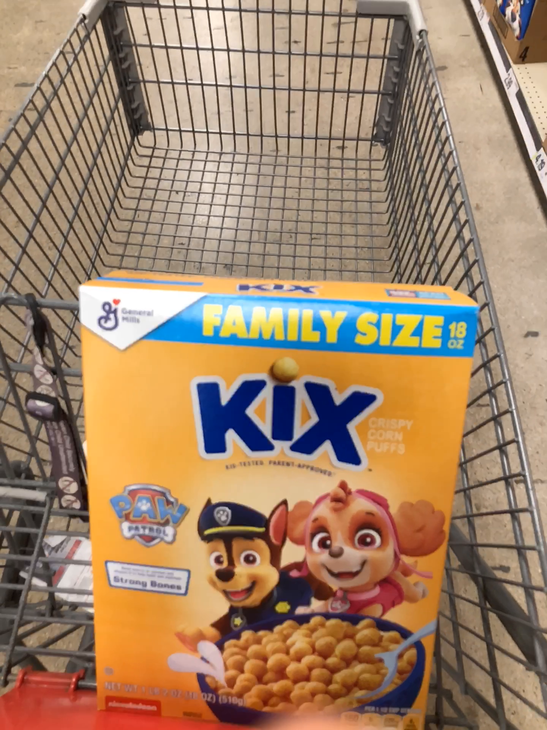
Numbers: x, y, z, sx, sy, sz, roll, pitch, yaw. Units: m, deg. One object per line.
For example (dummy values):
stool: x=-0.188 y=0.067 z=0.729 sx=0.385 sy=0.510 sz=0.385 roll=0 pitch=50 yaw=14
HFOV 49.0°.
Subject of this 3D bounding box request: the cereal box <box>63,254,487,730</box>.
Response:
cereal box: x=-0.005 y=0.097 z=0.443 sx=0.250 sy=0.330 sz=0.090 roll=5 pitch=18 yaw=7
